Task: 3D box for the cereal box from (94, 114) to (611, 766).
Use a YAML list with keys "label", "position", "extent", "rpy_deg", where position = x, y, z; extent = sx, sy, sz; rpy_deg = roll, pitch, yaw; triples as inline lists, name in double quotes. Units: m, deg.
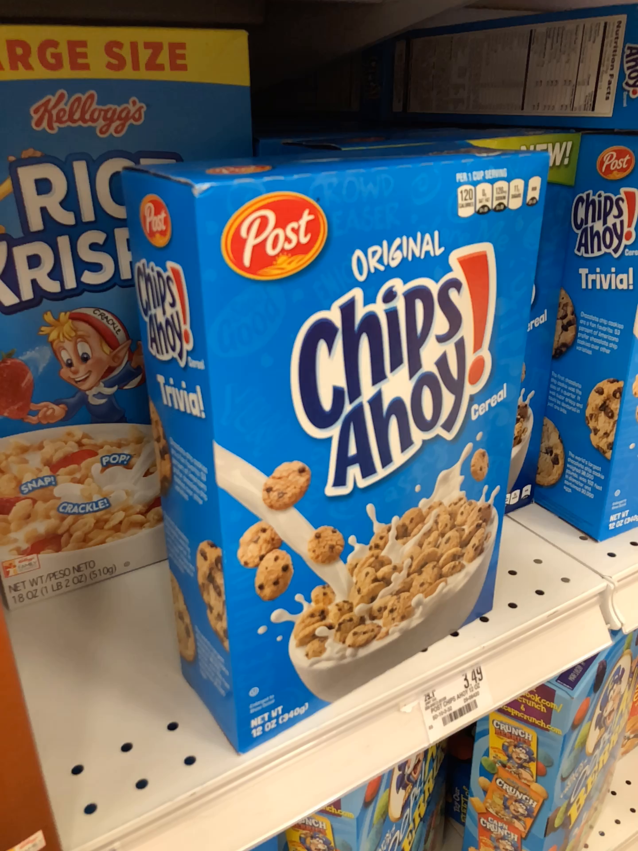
- label: "cereal box"
  position: [0.021, -0.003, 0.339]
  extent: [0.200, 0.259, 0.080]
  rpy_deg: [-18, 32, -32]
